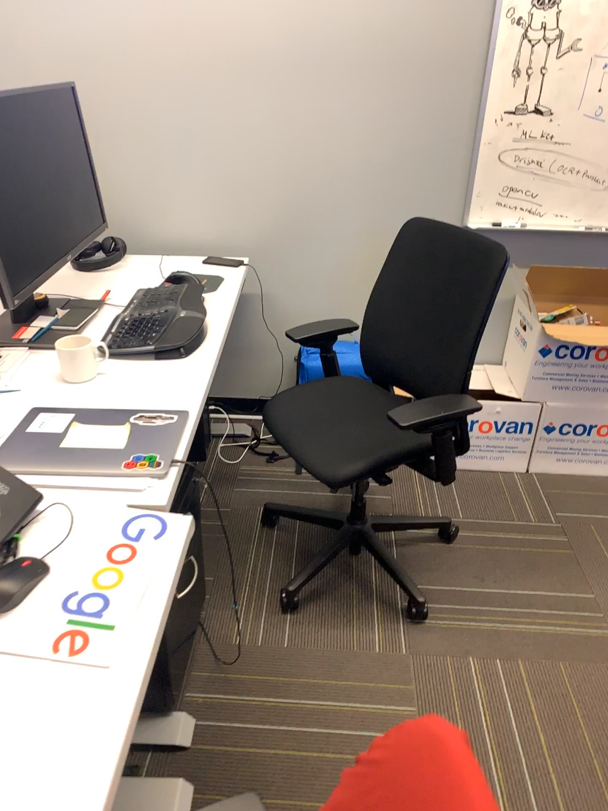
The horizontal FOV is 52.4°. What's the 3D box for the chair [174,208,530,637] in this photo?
[{"bbox_3d":[0.078,-0.024,1.939,0.610,0.945,0.834,-16,34,-29],"label":"chair"}]
